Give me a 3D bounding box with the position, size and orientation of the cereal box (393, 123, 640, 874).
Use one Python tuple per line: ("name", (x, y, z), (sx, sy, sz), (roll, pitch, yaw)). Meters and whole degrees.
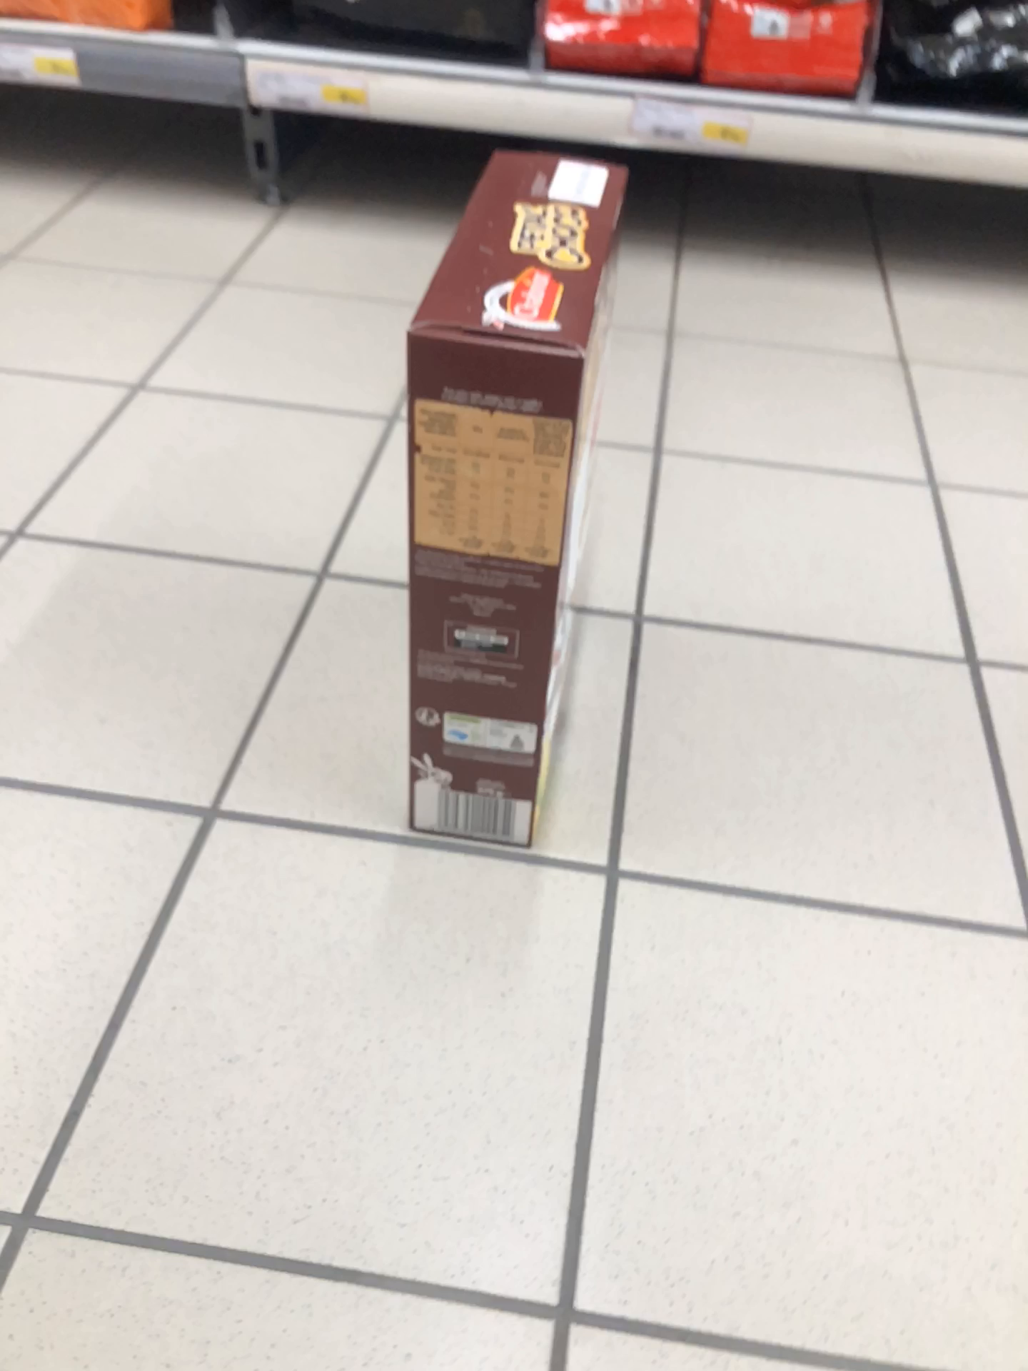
("cereal box", (0.002, -0.083, 0.536), (0.070, 0.278, 0.201), (7, 42, 4))
